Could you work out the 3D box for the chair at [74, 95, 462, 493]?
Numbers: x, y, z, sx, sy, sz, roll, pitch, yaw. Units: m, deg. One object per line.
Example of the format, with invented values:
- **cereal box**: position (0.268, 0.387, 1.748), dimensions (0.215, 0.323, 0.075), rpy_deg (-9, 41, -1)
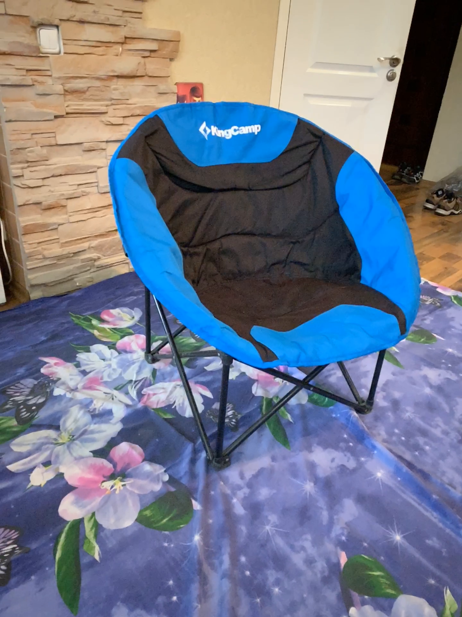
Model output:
- **chair**: position (0.055, -0.122, 1.293), dimensions (0.761, 0.772, 0.612), rpy_deg (-10, 31, -25)
